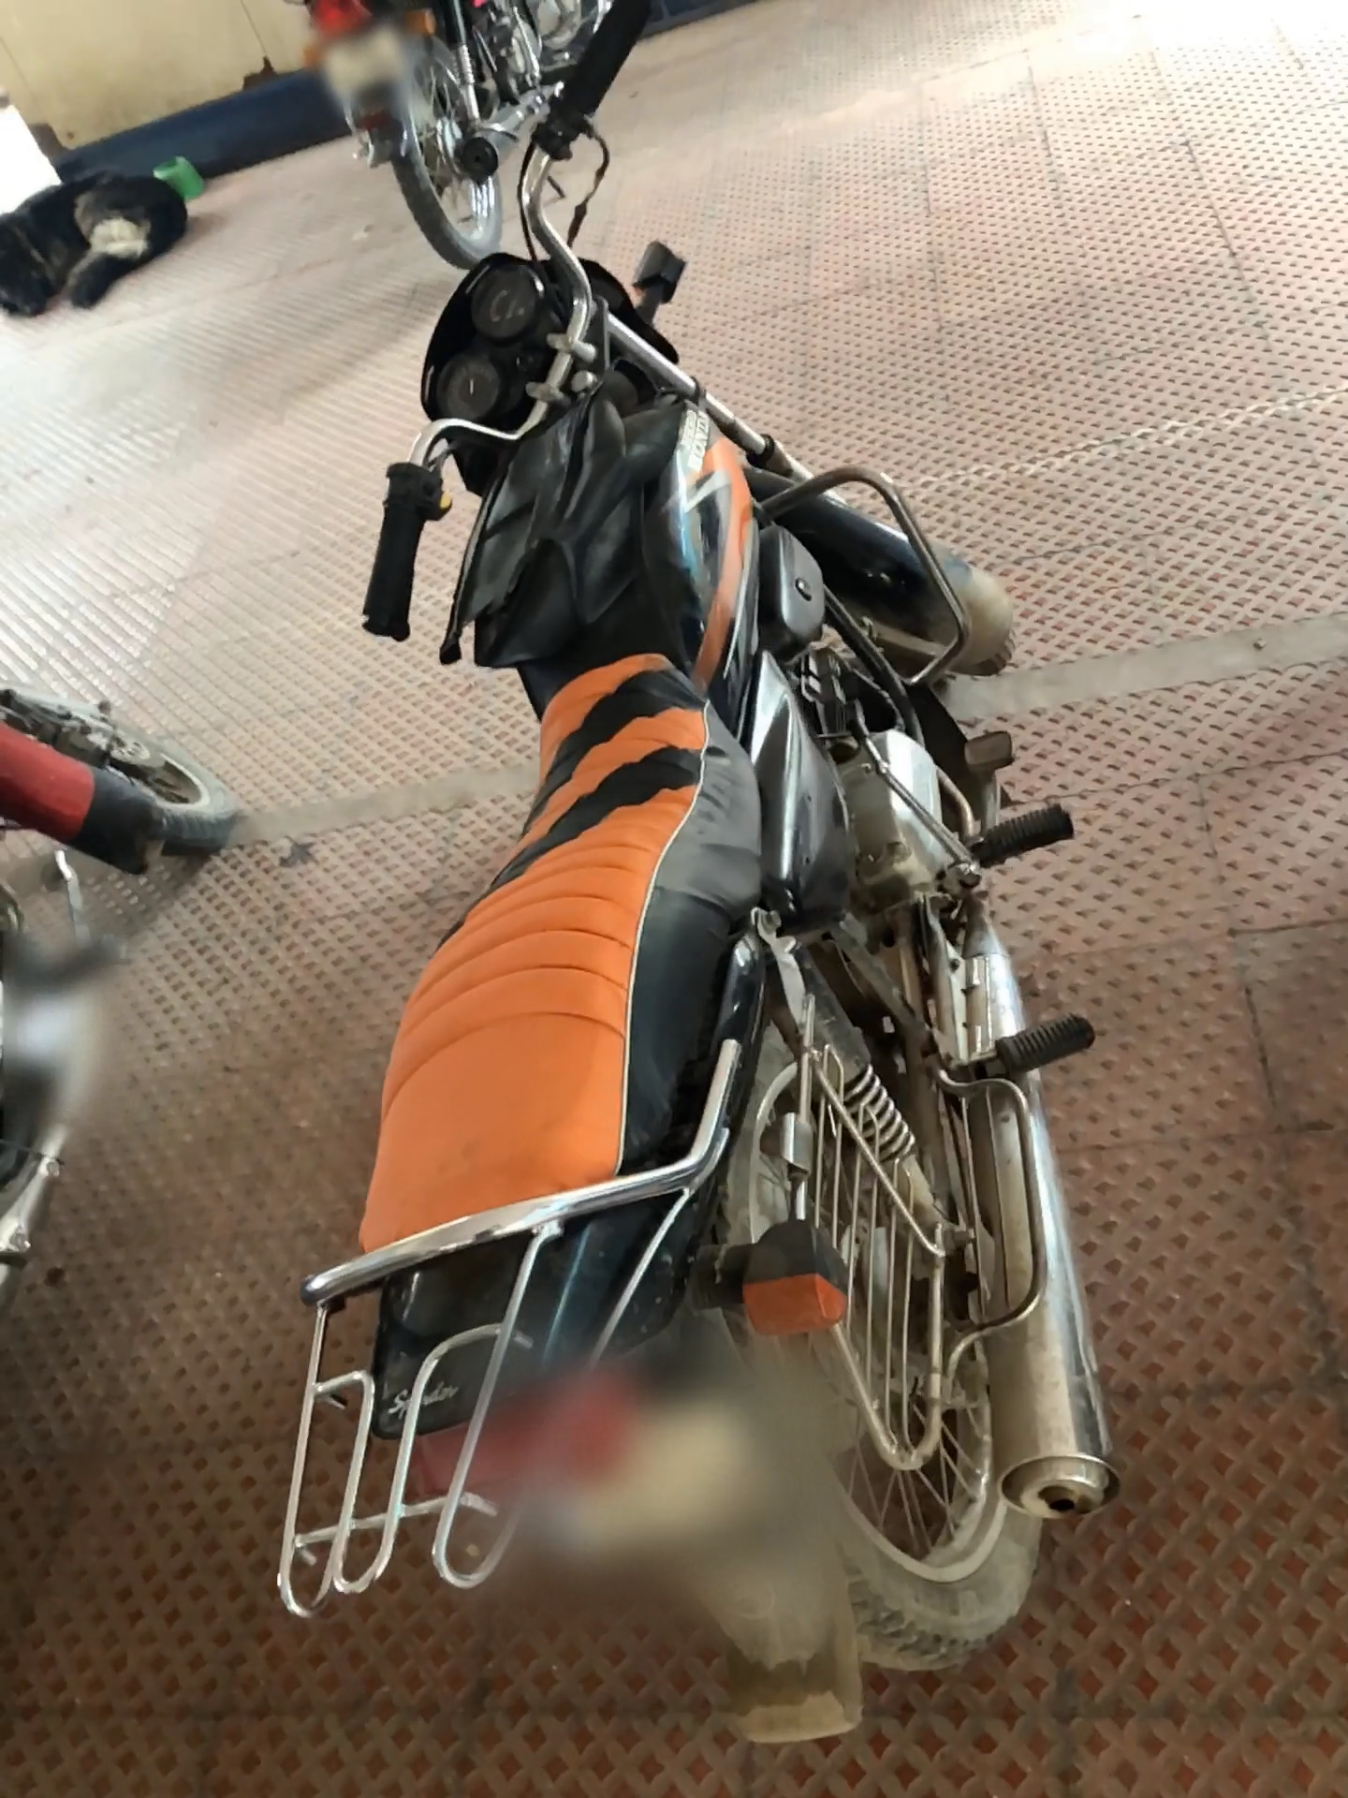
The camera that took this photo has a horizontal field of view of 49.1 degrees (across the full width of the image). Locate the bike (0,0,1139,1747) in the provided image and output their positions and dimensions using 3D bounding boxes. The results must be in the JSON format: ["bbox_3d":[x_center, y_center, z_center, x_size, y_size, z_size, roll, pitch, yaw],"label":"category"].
[{"bbox_3d":[-0.100,-0.073,1.519,0.688,1.124,1.410,-13,43,12],"label":"bike"}]
